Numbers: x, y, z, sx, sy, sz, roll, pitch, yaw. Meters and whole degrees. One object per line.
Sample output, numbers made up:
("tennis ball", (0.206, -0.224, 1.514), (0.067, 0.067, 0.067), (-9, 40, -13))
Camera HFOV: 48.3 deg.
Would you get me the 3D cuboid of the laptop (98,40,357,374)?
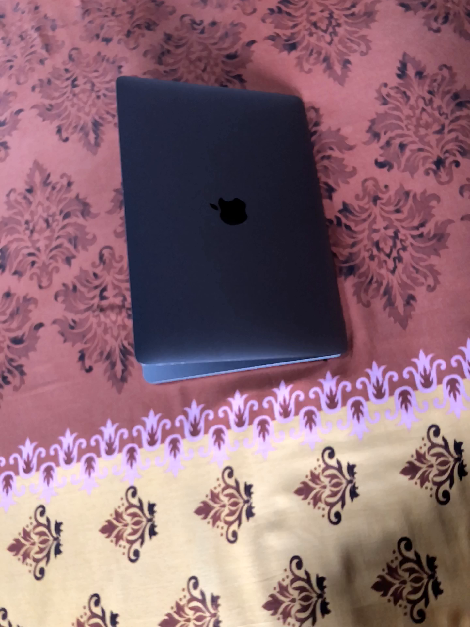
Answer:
("laptop", (-0.012, -0.100, 0.514), (0.204, 0.093, 0.286), (-8, 73, 5))
